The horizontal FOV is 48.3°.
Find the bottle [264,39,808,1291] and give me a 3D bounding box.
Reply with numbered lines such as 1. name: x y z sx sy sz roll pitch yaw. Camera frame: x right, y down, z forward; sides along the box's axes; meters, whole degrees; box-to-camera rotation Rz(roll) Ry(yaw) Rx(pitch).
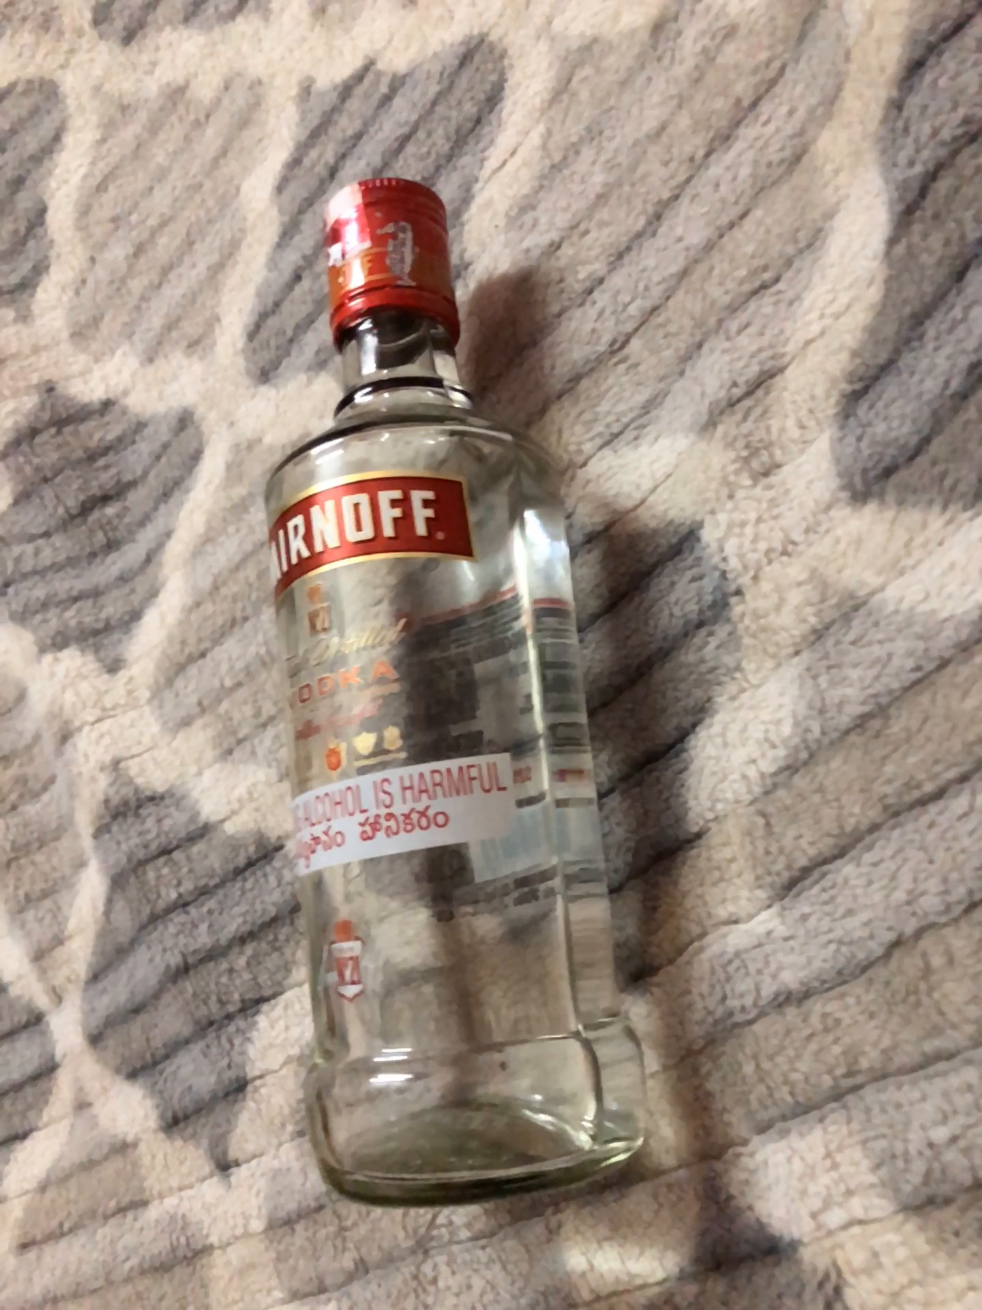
1. bottle: 0.003 -0.003 0.237 0.070 0.060 0.230 -17 71 35
